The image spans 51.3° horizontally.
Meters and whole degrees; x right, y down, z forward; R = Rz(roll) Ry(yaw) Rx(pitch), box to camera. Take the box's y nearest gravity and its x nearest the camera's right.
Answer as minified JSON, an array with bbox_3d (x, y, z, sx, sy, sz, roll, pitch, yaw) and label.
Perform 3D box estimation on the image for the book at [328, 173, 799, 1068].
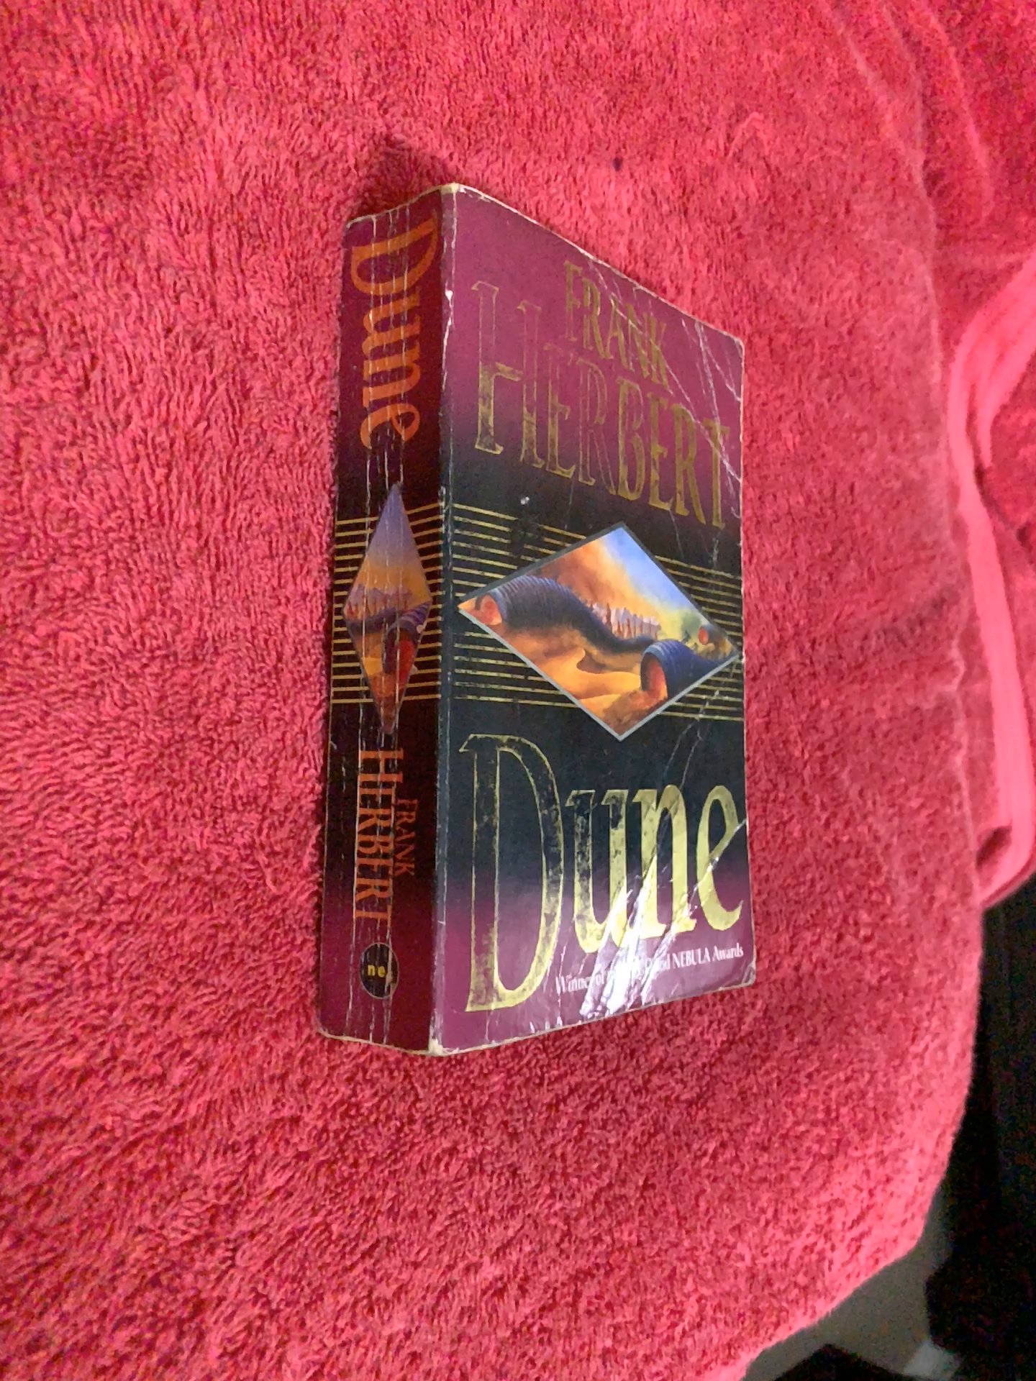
[{"bbox_3d":[0.015,-0.011,0.251,0.115,0.039,0.165,5,82,-45],"label":"book"}]
